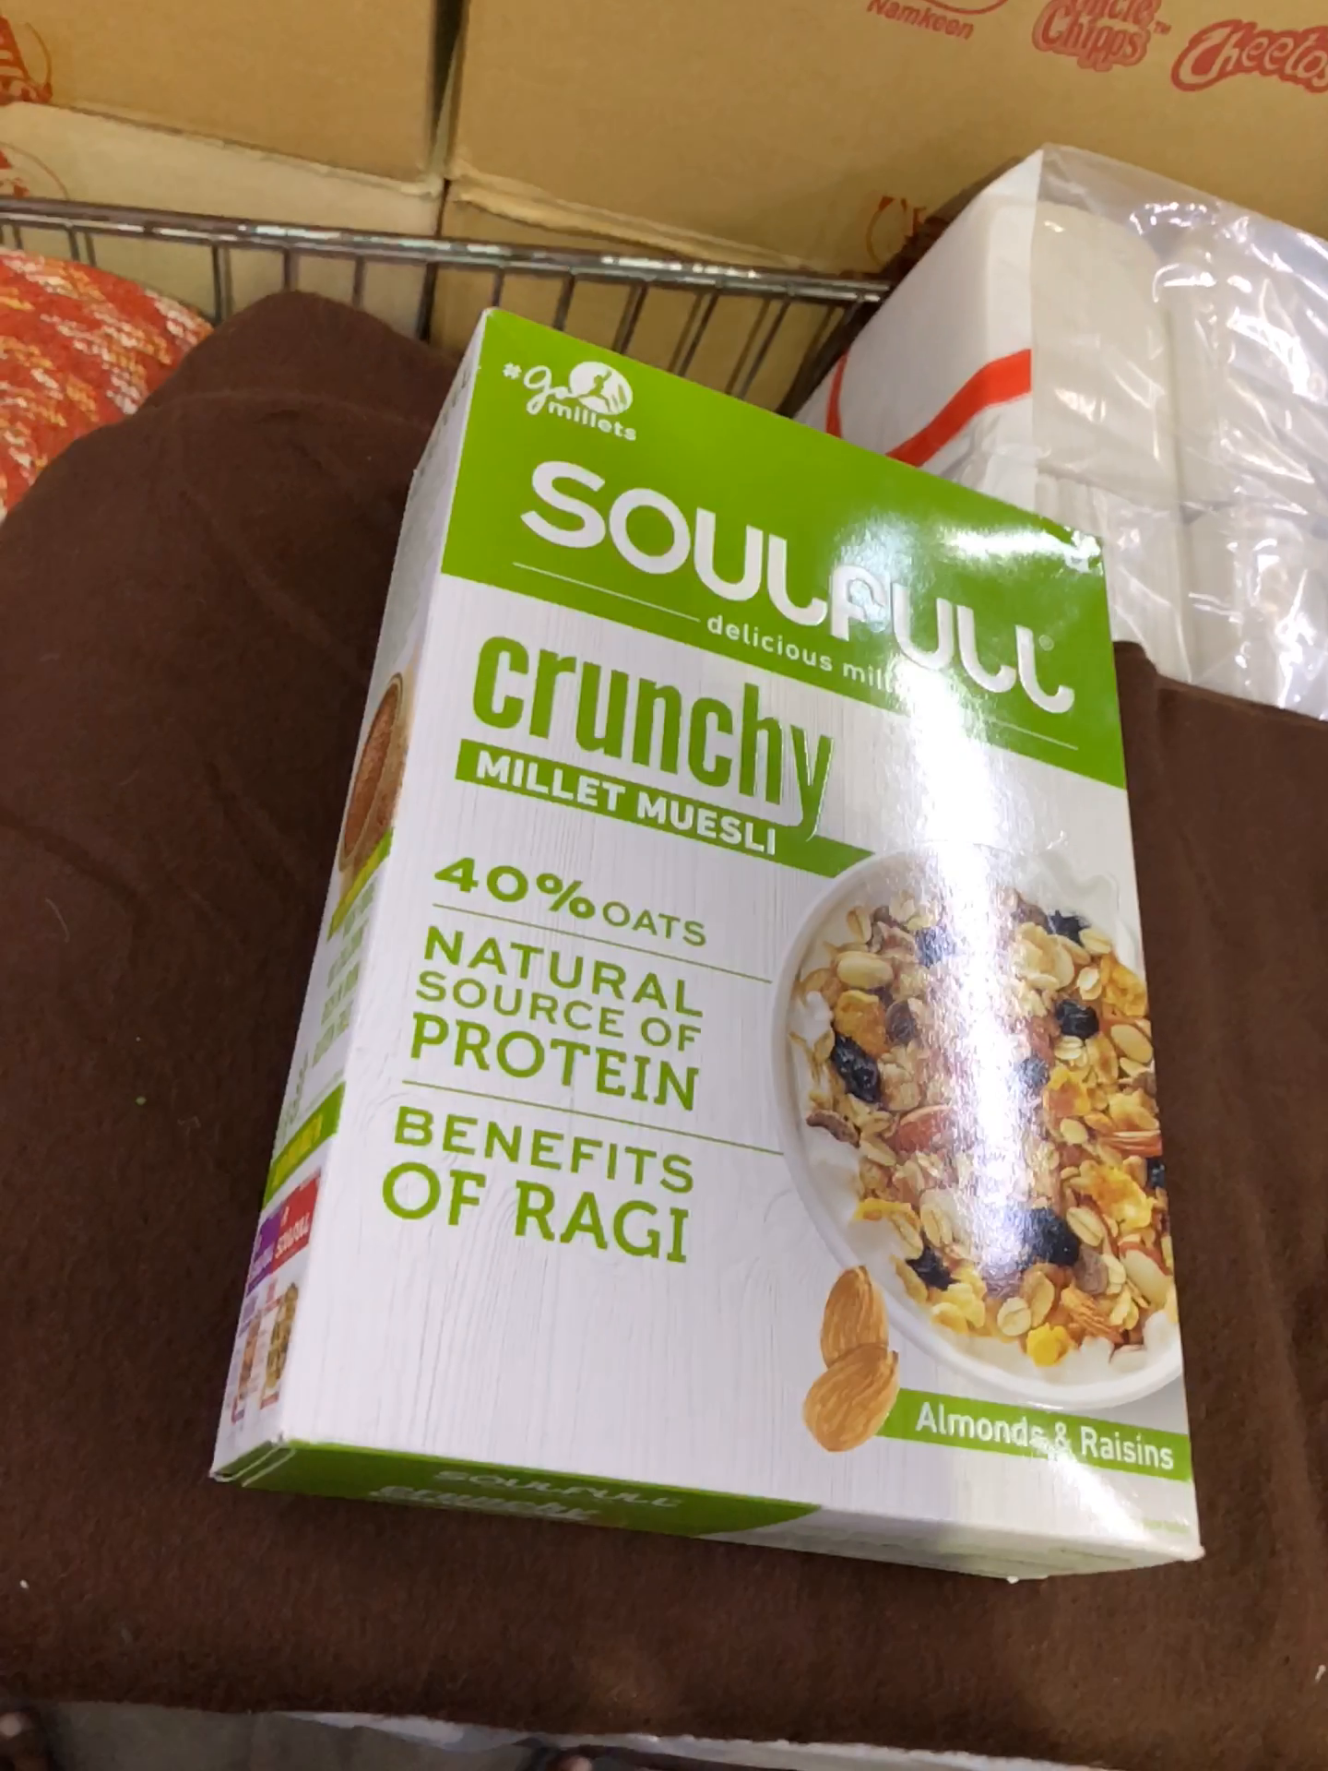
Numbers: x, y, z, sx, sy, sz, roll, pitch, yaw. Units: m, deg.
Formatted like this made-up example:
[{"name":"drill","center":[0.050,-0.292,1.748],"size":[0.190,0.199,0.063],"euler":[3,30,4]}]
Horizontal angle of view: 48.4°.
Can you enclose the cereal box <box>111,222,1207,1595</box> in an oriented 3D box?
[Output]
[{"name":"cereal box","center":[0.006,-0.003,0.292],"size":[0.160,0.060,0.241],"euler":[14,58,-15]}]
